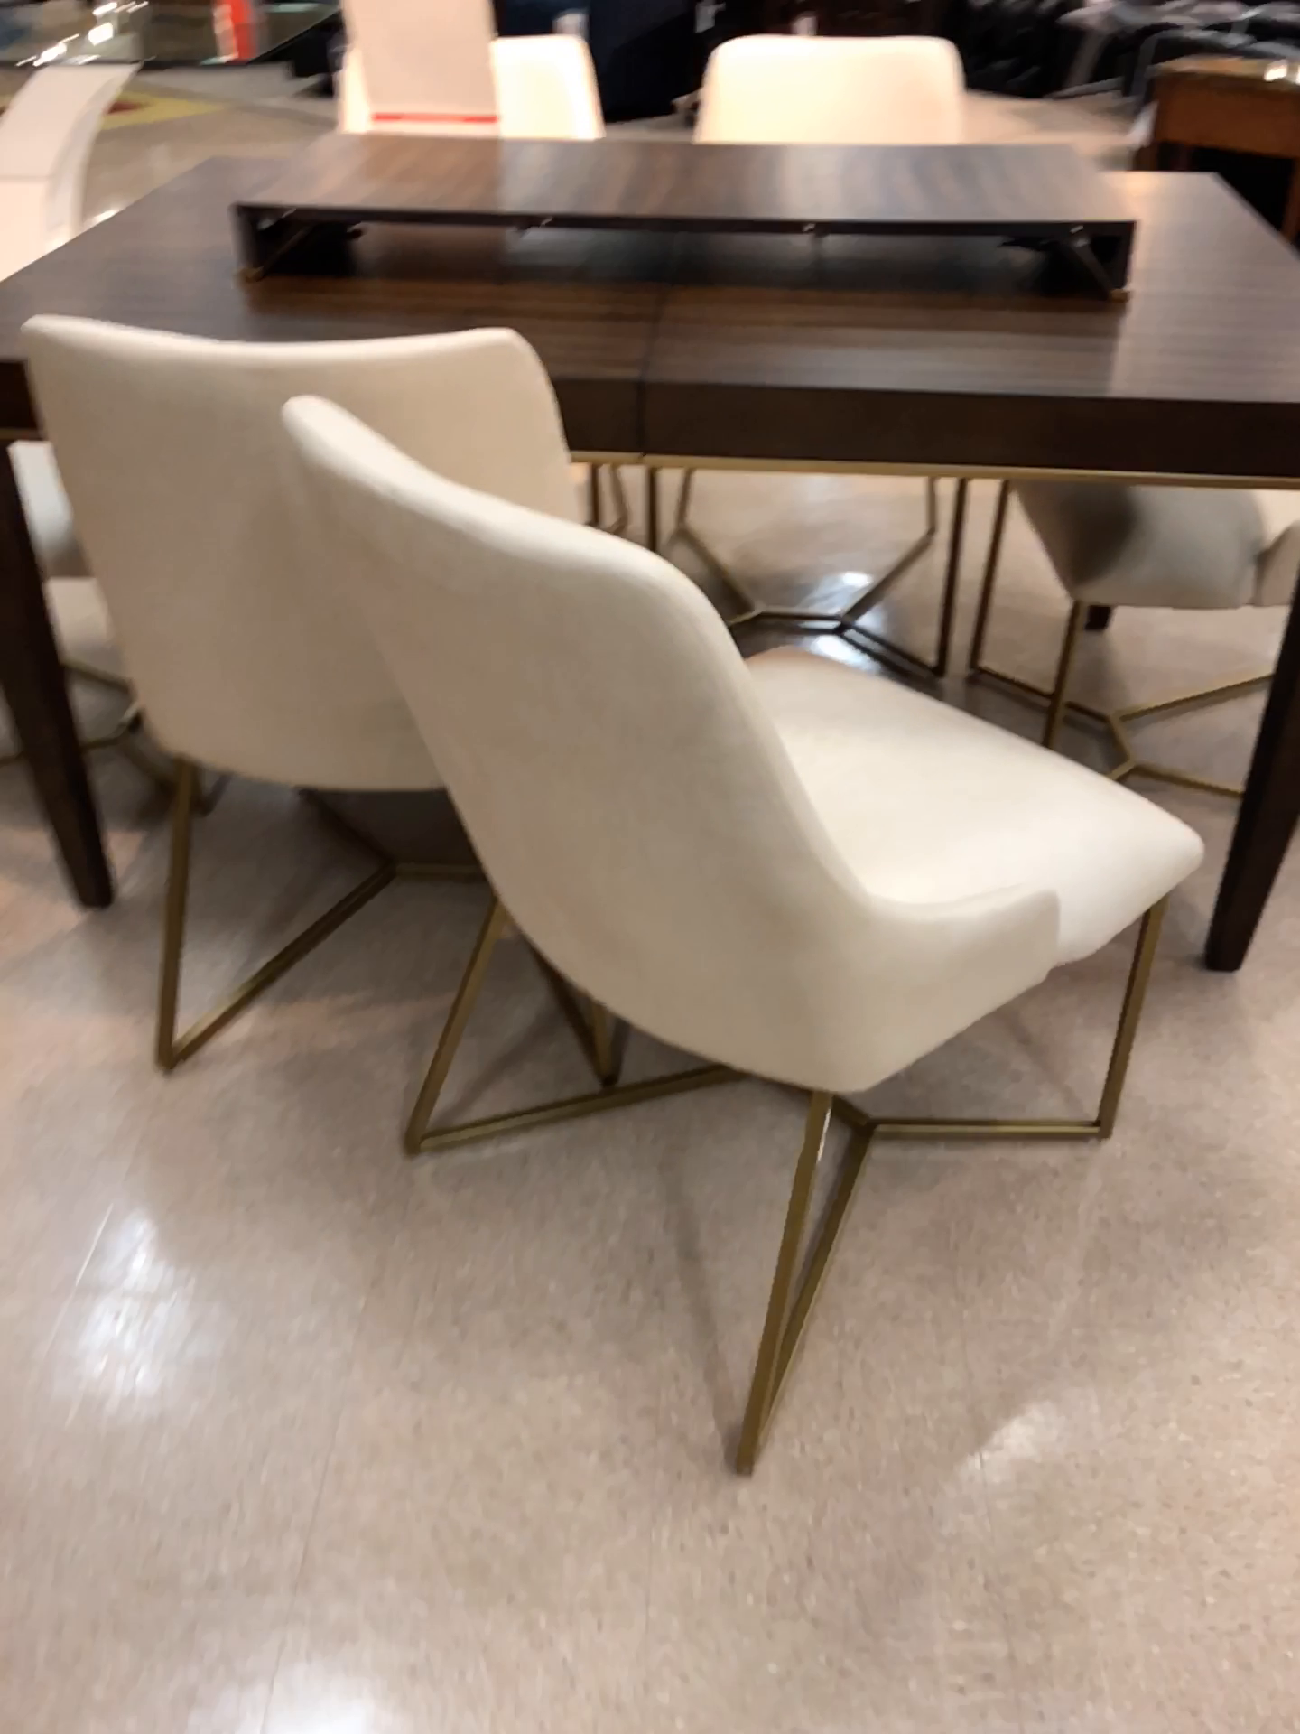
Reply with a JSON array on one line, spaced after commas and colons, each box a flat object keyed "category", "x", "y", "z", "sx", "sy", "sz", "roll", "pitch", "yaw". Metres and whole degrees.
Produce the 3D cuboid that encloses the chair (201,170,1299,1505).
[{"category": "chair", "x": 0.097, "y": -0.060, "z": 1.303, "sx": 0.642, "sy": 0.904, "sz": 0.543, "roll": -28, "pitch": 45, "yaw": -33}]
